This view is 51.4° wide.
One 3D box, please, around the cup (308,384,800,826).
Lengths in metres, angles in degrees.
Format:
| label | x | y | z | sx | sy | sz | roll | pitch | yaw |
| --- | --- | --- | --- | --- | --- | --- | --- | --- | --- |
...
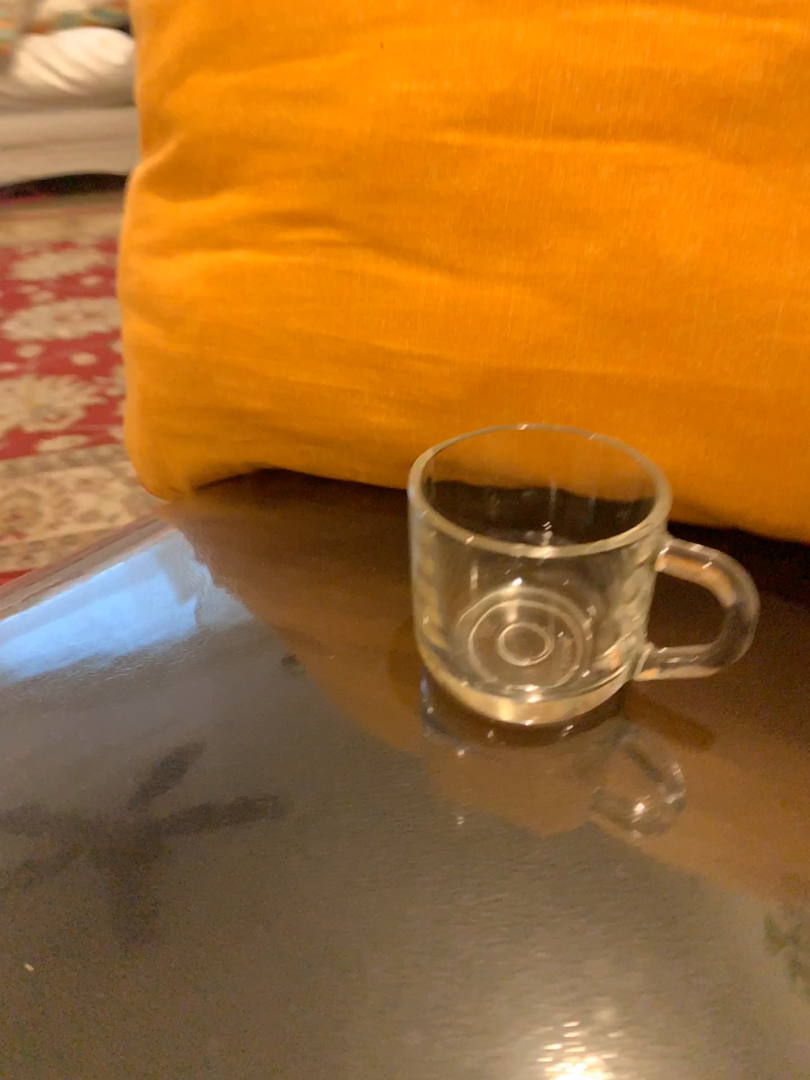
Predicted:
| label | x | y | z | sx | sy | sz | roll | pitch | yaw |
| --- | --- | --- | --- | --- | --- | --- | --- | --- | --- |
| cup | 0.038 | 0.009 | 0.224 | 0.100 | 0.059 | 0.070 | 19 | 39 | 27 |
